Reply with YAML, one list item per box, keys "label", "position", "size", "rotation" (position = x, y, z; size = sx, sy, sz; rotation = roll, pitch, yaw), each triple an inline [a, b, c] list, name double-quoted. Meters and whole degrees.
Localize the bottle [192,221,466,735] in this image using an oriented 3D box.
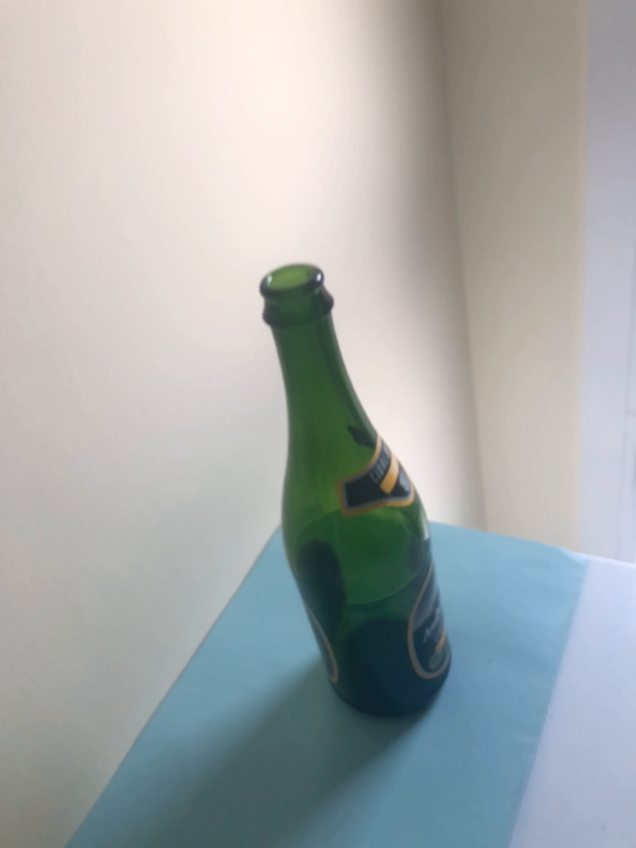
- label: "bottle"
  position: [0.026, 0.048, 0.378]
  size: [0.080, 0.278, 0.091]
  rotation: [-3, 38, 15]
